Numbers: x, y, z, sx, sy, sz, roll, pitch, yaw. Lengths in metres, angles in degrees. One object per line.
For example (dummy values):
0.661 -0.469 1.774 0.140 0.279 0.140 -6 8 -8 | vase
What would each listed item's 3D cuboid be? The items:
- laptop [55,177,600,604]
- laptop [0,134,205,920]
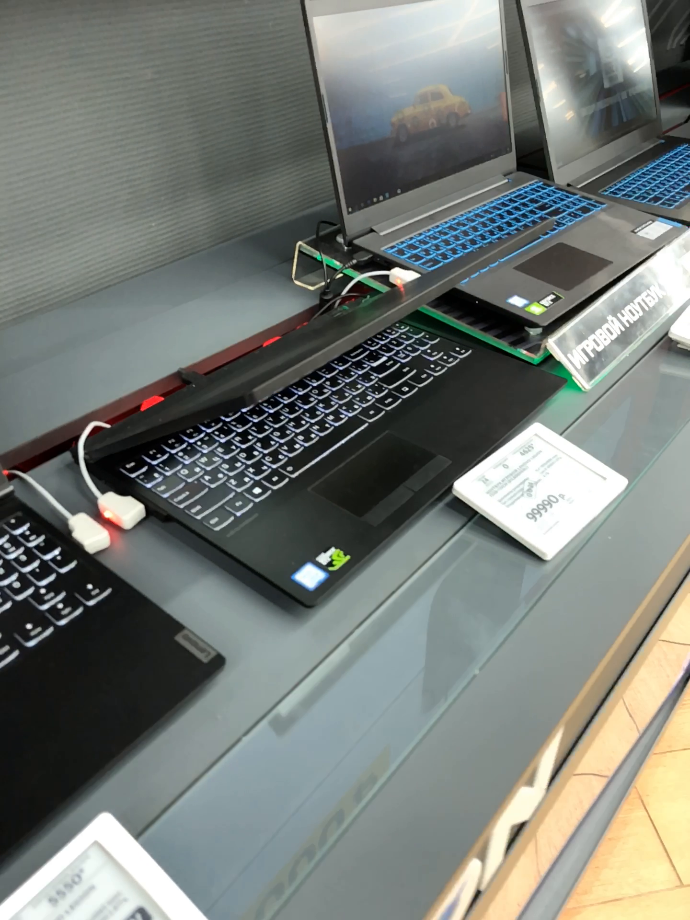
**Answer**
0.006 -0.091 0.596 0.228 0.136 0.354 27 44 31 | laptop
-0.304 0.050 0.334 0.308 0.231 0.365 29 46 31 | laptop
